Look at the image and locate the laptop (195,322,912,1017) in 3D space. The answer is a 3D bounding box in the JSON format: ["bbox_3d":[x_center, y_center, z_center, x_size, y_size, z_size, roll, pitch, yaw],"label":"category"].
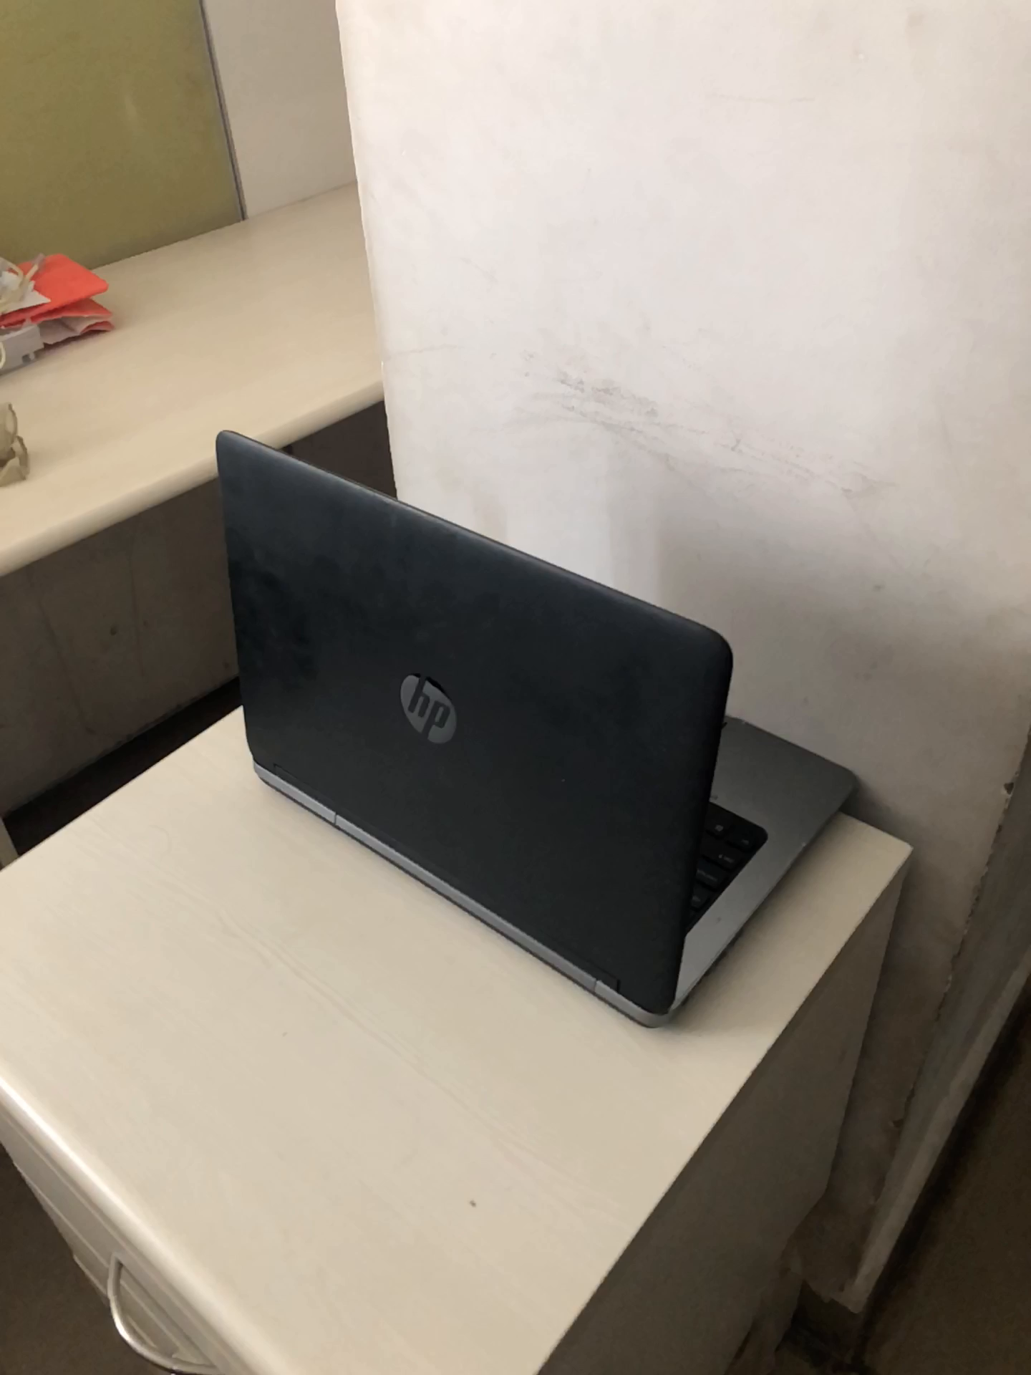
[{"bbox_3d":[0.017,-0.030,0.668,0.318,0.226,0.205,27,50,31],"label":"laptop"}]
